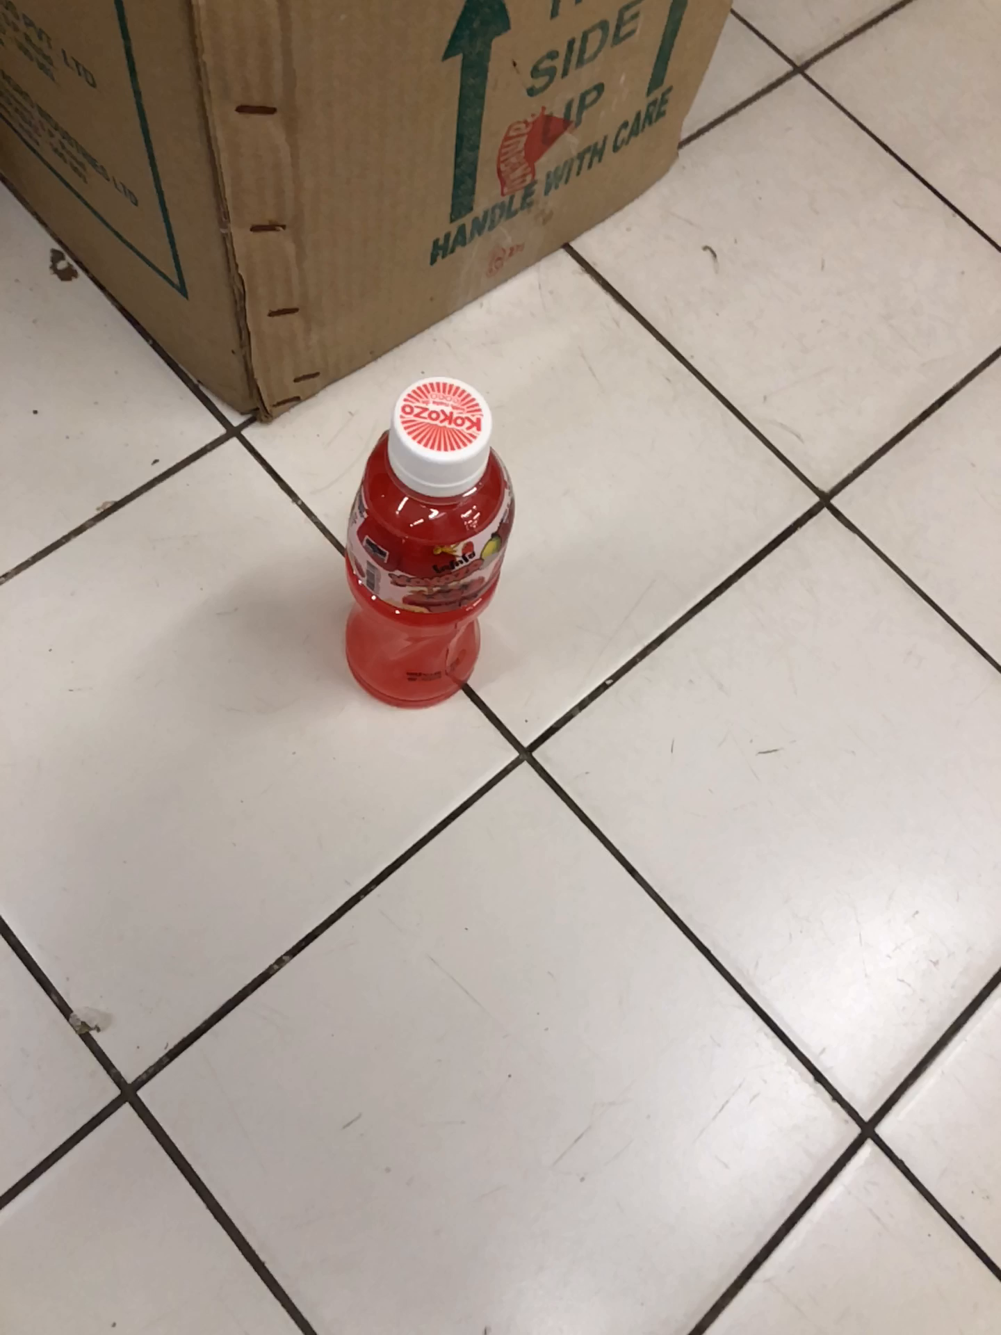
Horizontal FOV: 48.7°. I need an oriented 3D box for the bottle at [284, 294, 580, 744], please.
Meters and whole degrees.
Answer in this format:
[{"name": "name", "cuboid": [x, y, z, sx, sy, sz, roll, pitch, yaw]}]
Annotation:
[{"name": "bottle", "cuboid": [-0.031, -0.039, 0.402, 0.060, 0.189, 0.060, 2, 69, -7]}]
